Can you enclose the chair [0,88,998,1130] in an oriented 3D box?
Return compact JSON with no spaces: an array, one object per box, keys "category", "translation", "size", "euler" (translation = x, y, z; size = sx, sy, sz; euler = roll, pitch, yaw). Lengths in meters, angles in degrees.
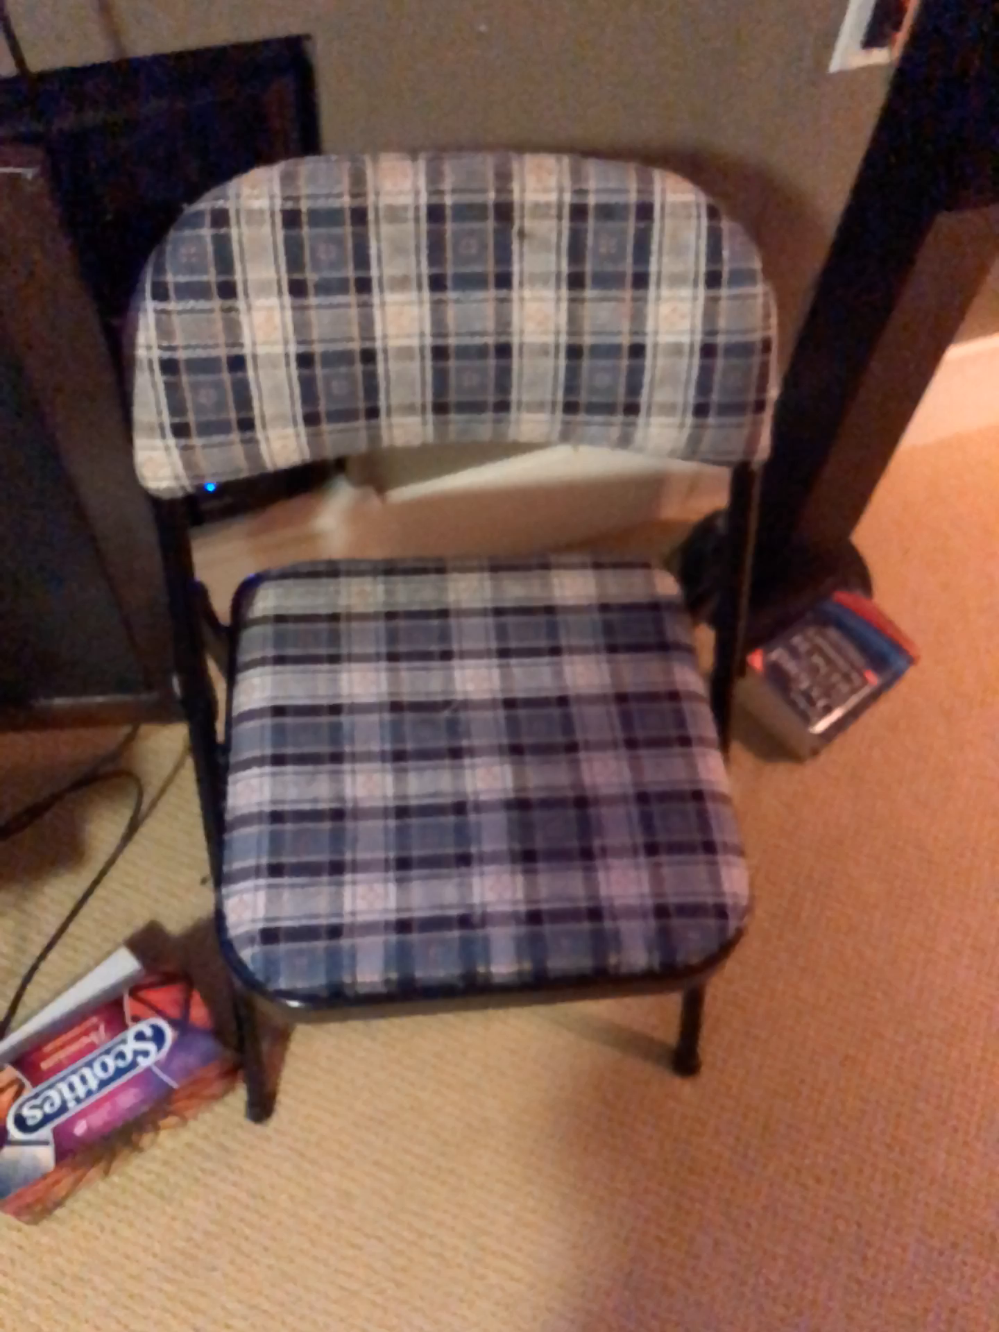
[{"category":"chair","translation":[-0.016,0.020,0.938],"size":[0.500,0.707,0.563],"euler":[-1,59,-5]}]
